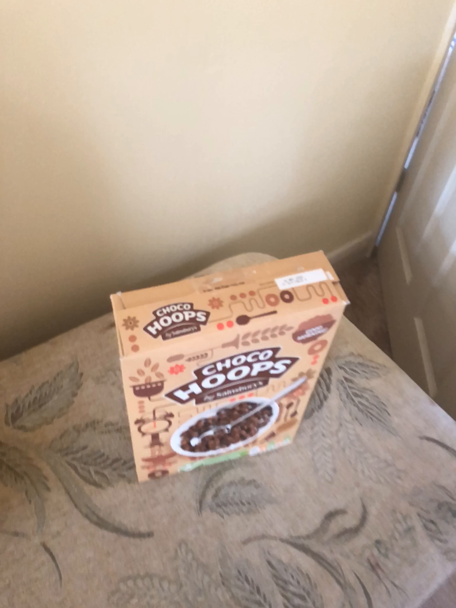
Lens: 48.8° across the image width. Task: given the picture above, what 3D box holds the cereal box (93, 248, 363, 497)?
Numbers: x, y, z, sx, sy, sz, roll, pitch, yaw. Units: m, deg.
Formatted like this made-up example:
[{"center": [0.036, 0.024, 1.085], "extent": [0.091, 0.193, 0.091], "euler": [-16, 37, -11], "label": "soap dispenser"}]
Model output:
[{"center": [-0.009, 0.081, 0.514], "extent": [0.210, 0.259, 0.080], "euler": [-11, 51, -15], "label": "cereal box"}]
